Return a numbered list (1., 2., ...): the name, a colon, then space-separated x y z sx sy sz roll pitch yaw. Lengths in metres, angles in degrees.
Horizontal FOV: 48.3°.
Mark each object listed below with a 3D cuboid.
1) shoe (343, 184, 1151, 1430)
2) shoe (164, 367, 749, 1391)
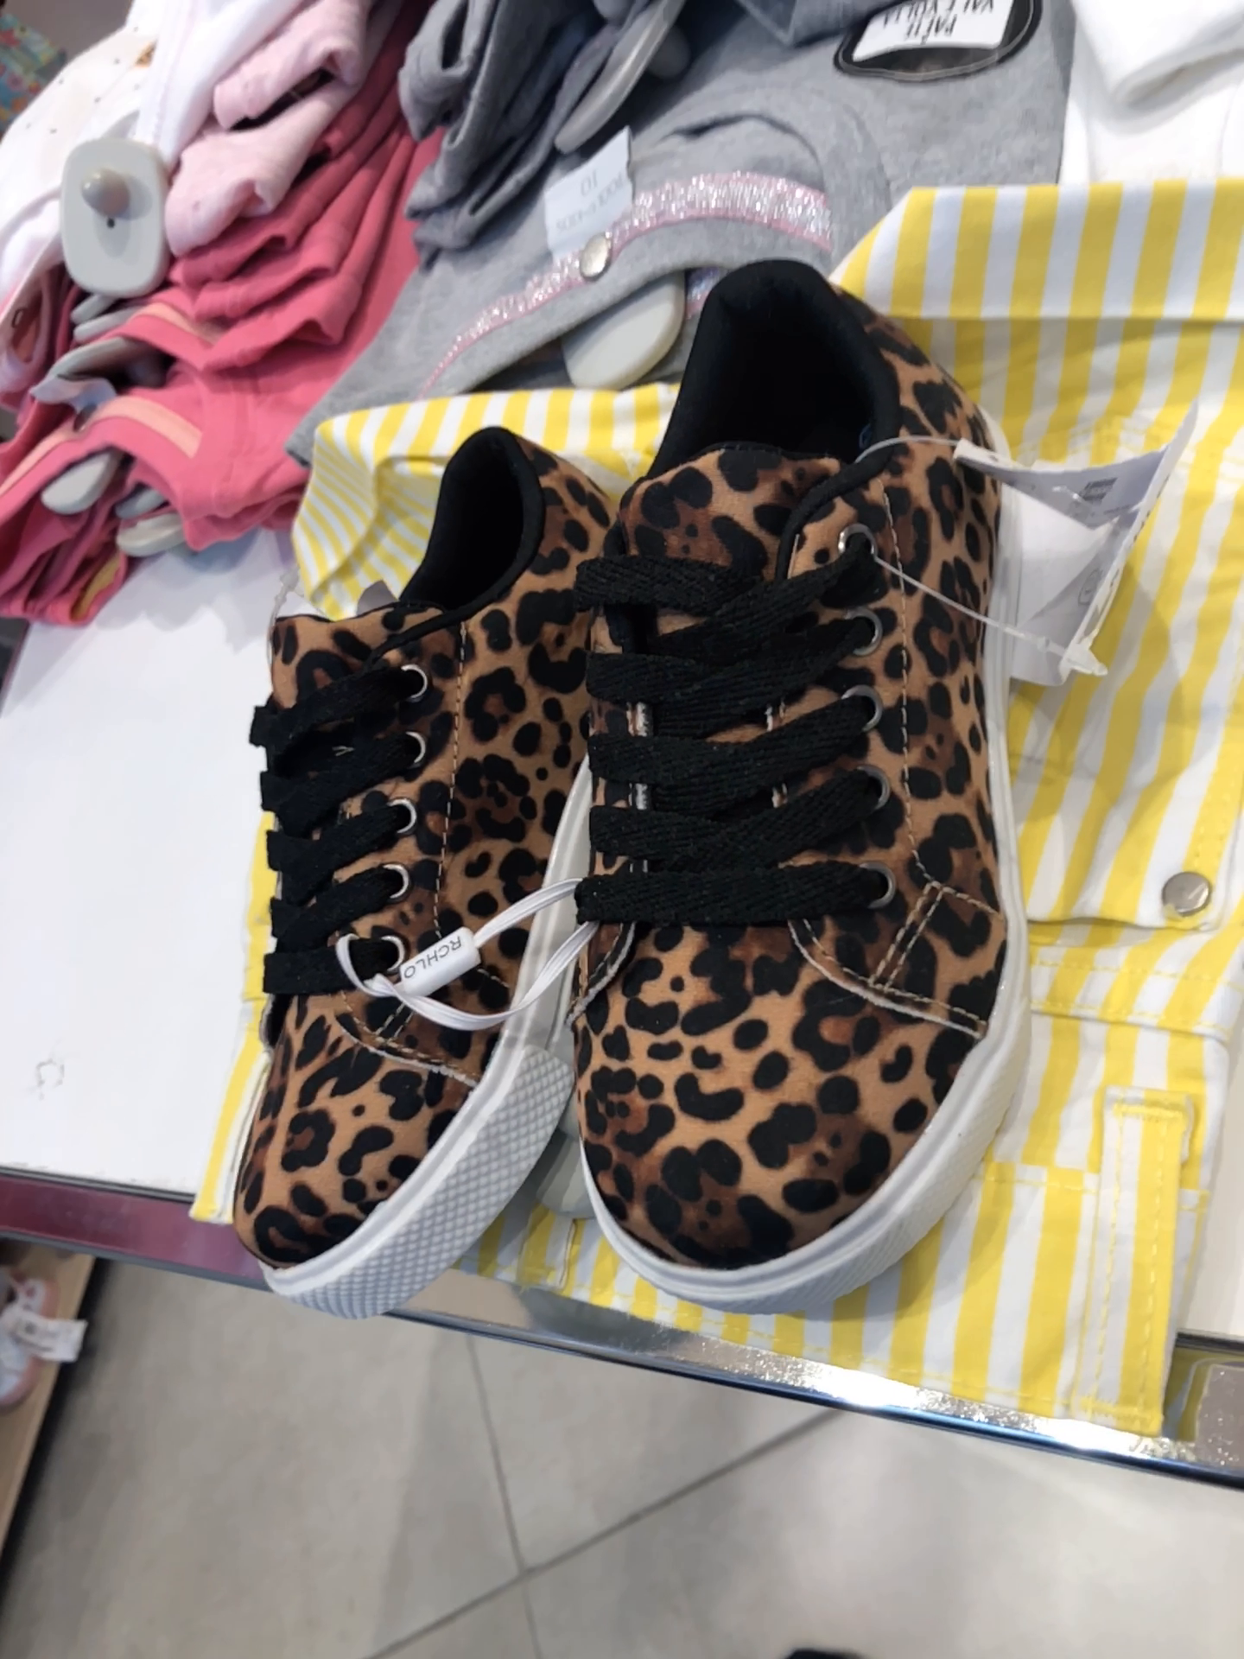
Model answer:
1. shoe: 0.029 0.000 0.233 0.080 0.080 0.170 -1 71 38
2. shoe: -0.033 0.011 0.276 0.080 0.060 0.170 -23 54 61
